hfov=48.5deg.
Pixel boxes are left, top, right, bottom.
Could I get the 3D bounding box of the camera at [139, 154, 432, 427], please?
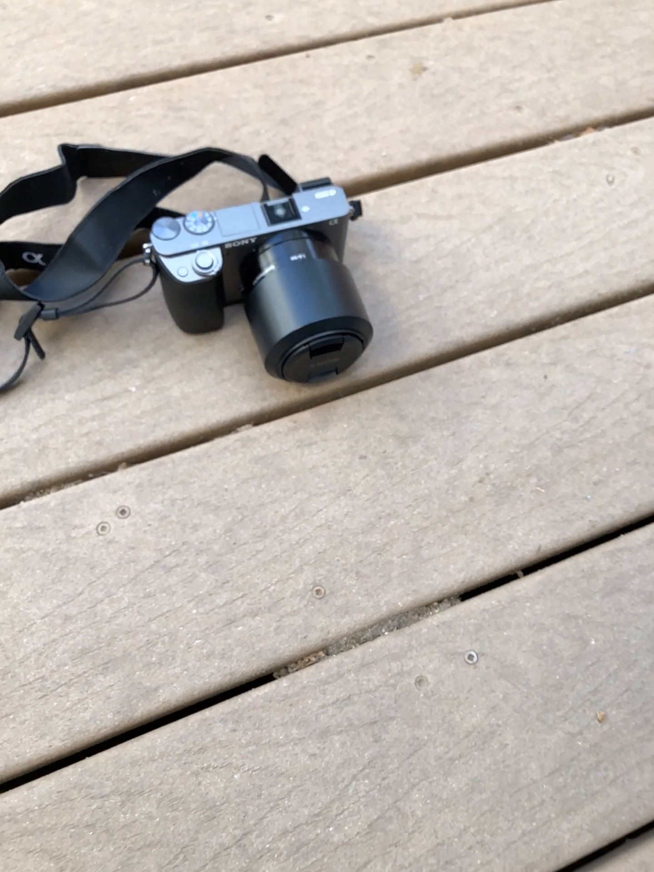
[{"bbox_3d":[-0.027,-0.085,0.423,0.130,0.070,0.110,-16,69,-12],"label":"camera"}]
